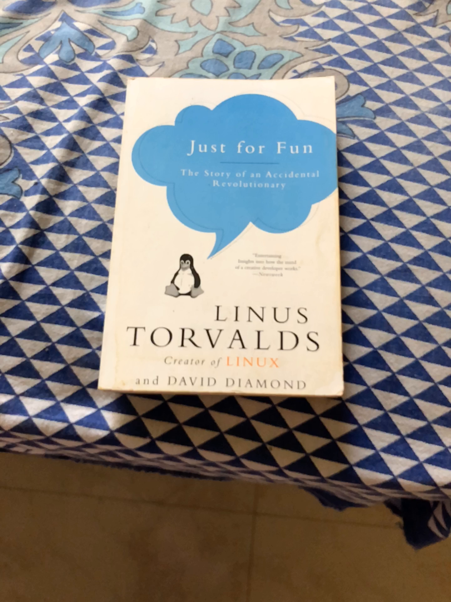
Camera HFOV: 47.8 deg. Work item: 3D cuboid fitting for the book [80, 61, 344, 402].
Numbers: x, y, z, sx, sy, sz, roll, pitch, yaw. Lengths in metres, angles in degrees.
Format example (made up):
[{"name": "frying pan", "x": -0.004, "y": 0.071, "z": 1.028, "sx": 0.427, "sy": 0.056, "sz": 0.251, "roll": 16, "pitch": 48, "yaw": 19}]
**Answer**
[{"name": "book", "x": -0.004, "y": -0.048, "z": 0.312, "sx": 0.140, "sy": 0.030, "sz": 0.210, "roll": 1, "pitch": 74, "yaw": 2}]
